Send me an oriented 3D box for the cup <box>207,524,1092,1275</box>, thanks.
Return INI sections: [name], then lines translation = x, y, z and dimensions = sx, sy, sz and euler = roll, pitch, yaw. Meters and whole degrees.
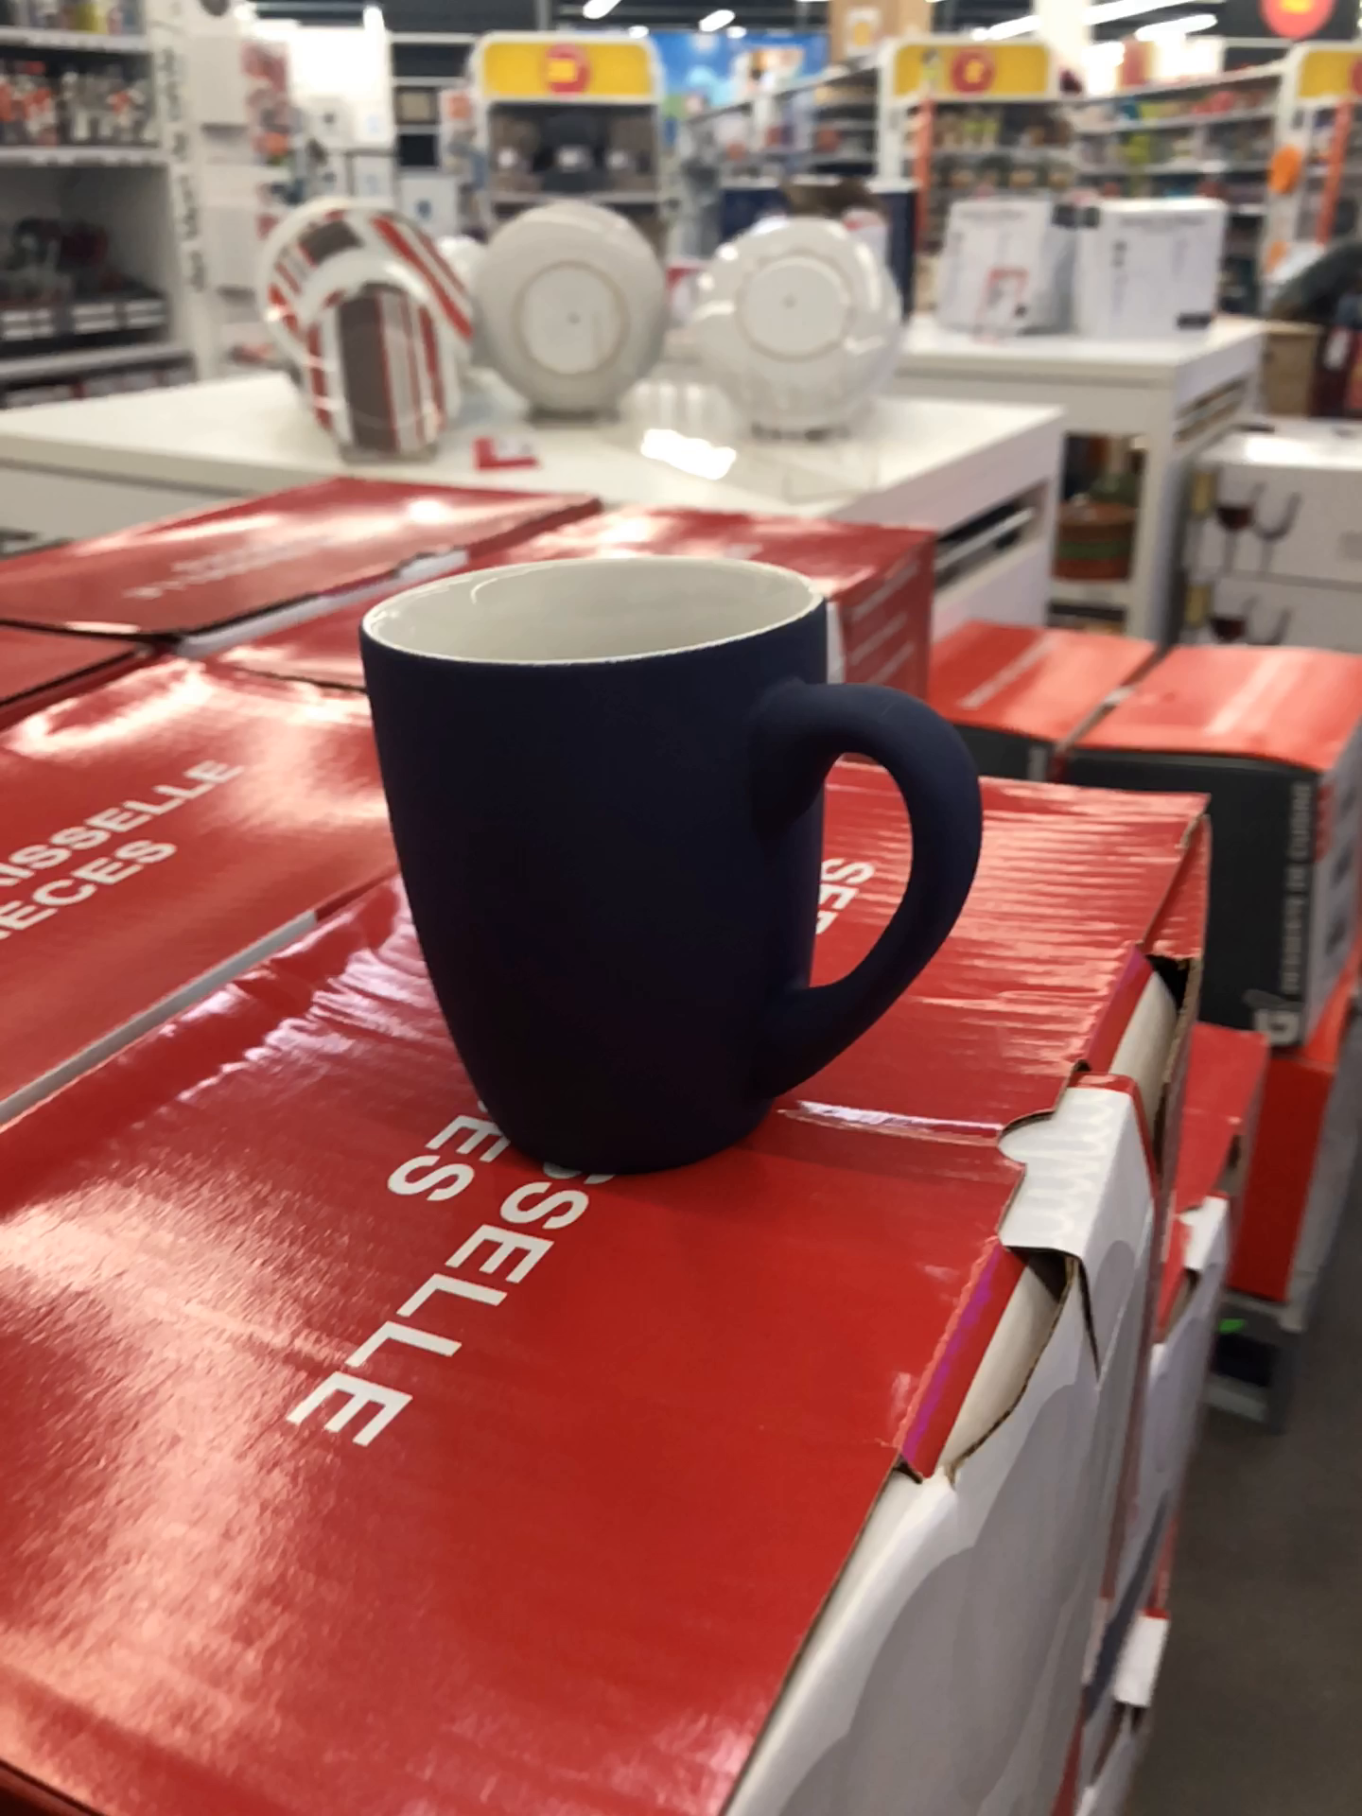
[cup]
translation = -0.001, -0.013, 0.275
dimensions = 0.121, 0.088, 0.091
euler = 12, 31, 33
